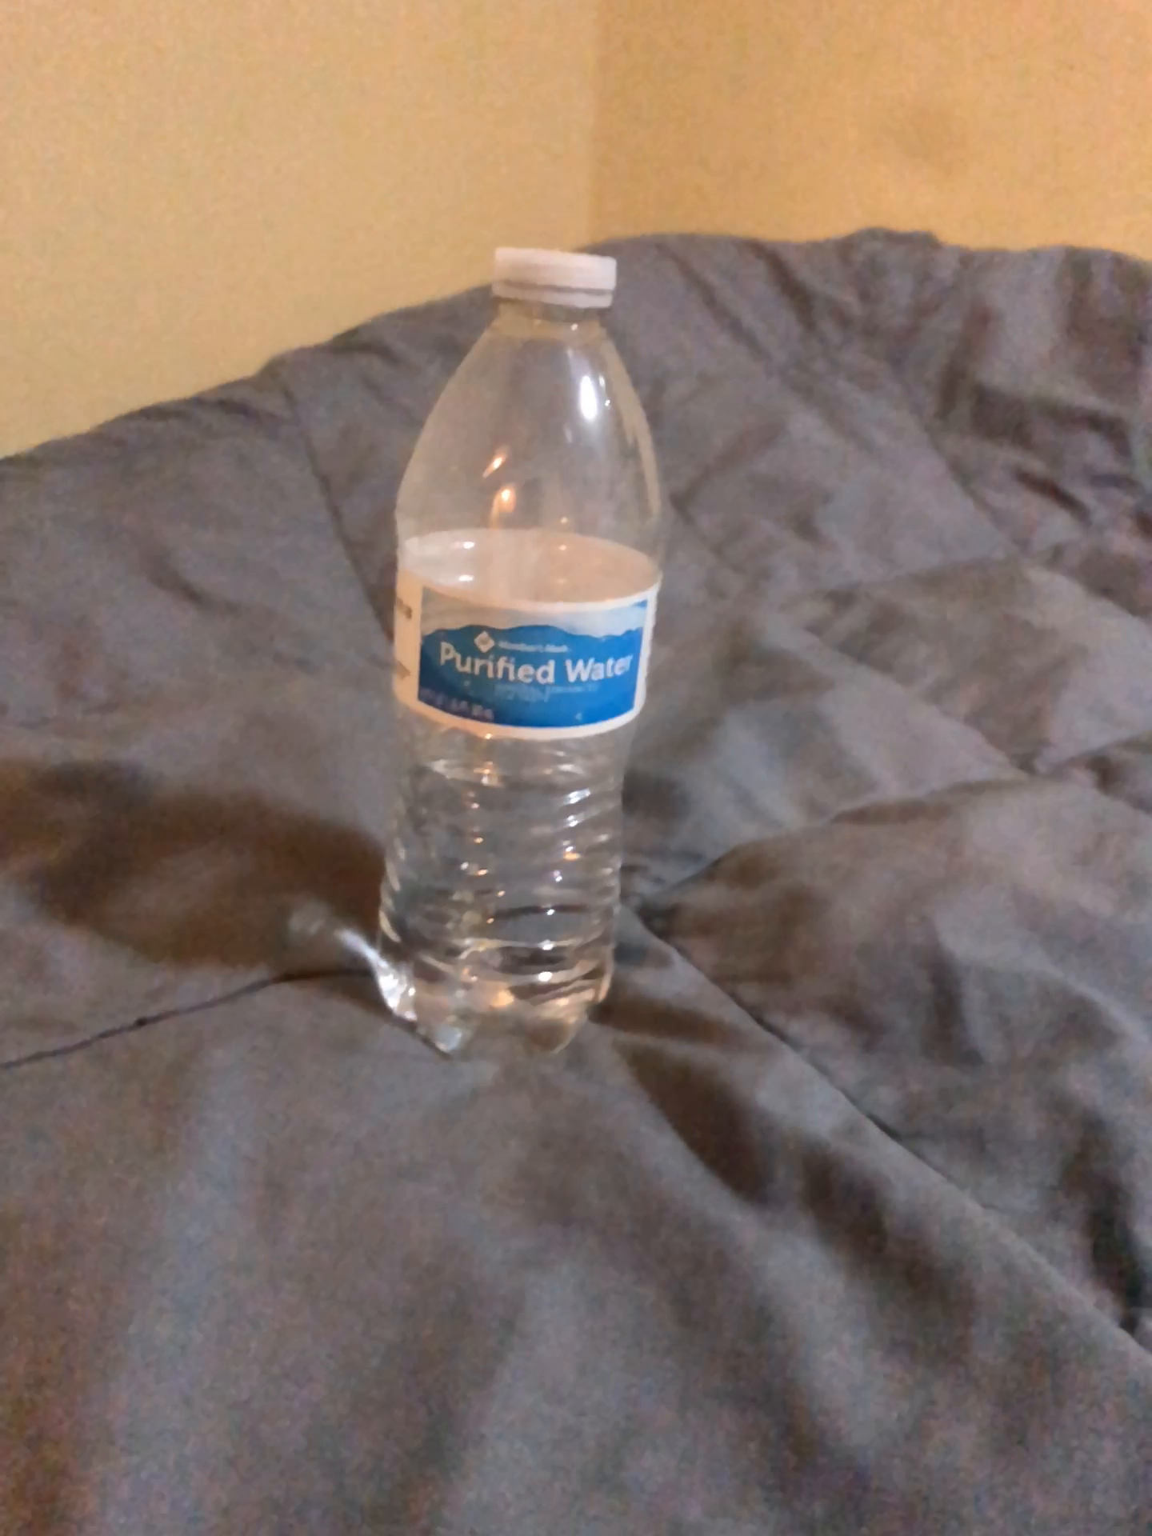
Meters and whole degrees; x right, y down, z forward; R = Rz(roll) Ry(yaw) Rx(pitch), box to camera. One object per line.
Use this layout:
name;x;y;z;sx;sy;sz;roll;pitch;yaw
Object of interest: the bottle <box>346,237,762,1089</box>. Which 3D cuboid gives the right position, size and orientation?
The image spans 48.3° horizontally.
bottle;-0.014;-0.026;0.318;0.080;0.189;0.080;3;23;-1
